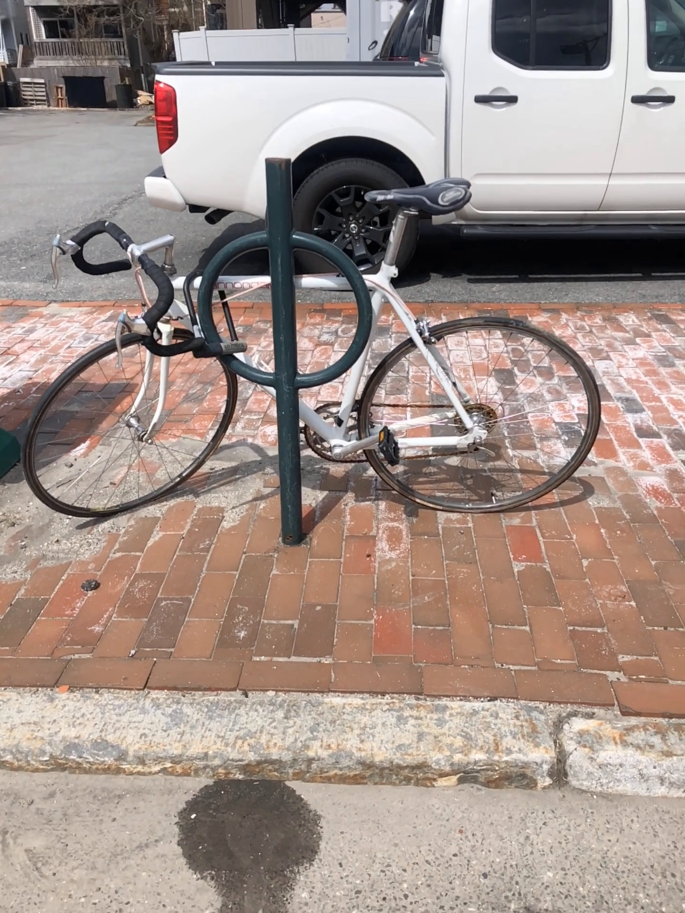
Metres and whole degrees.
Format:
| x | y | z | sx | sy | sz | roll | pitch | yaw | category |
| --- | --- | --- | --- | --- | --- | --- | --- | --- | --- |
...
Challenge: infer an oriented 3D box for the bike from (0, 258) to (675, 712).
| x | y | z | sx | sy | sz | roll | pitch | yaw | category |
| --- | --- | --- | --- | --- | --- | --- | --- | --- | --- |
| -0.049 | 0.026 | 1.579 | 1.274 | 0.650 | 0.467 | -6 | 26 | -4 | bike |
